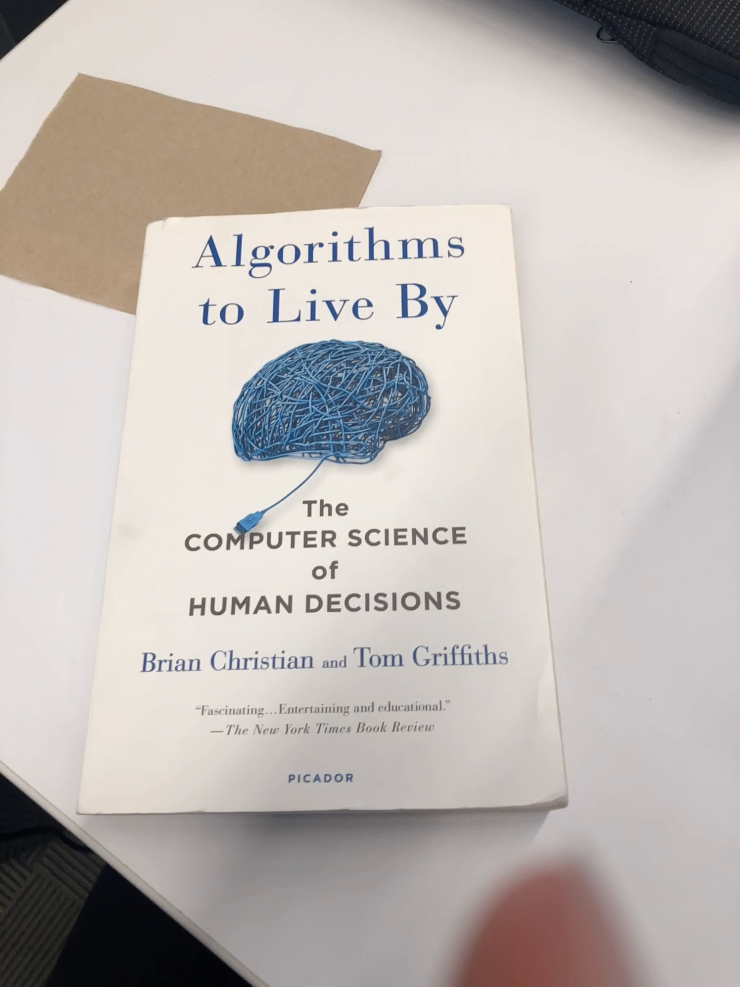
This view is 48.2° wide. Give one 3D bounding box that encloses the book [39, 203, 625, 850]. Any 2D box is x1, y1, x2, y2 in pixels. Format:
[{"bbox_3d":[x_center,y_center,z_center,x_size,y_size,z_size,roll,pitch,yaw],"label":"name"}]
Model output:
[{"bbox_3d":[-0.012,0.003,0.287,0.160,0.040,0.220,-2,67,3],"label":"book"}]
